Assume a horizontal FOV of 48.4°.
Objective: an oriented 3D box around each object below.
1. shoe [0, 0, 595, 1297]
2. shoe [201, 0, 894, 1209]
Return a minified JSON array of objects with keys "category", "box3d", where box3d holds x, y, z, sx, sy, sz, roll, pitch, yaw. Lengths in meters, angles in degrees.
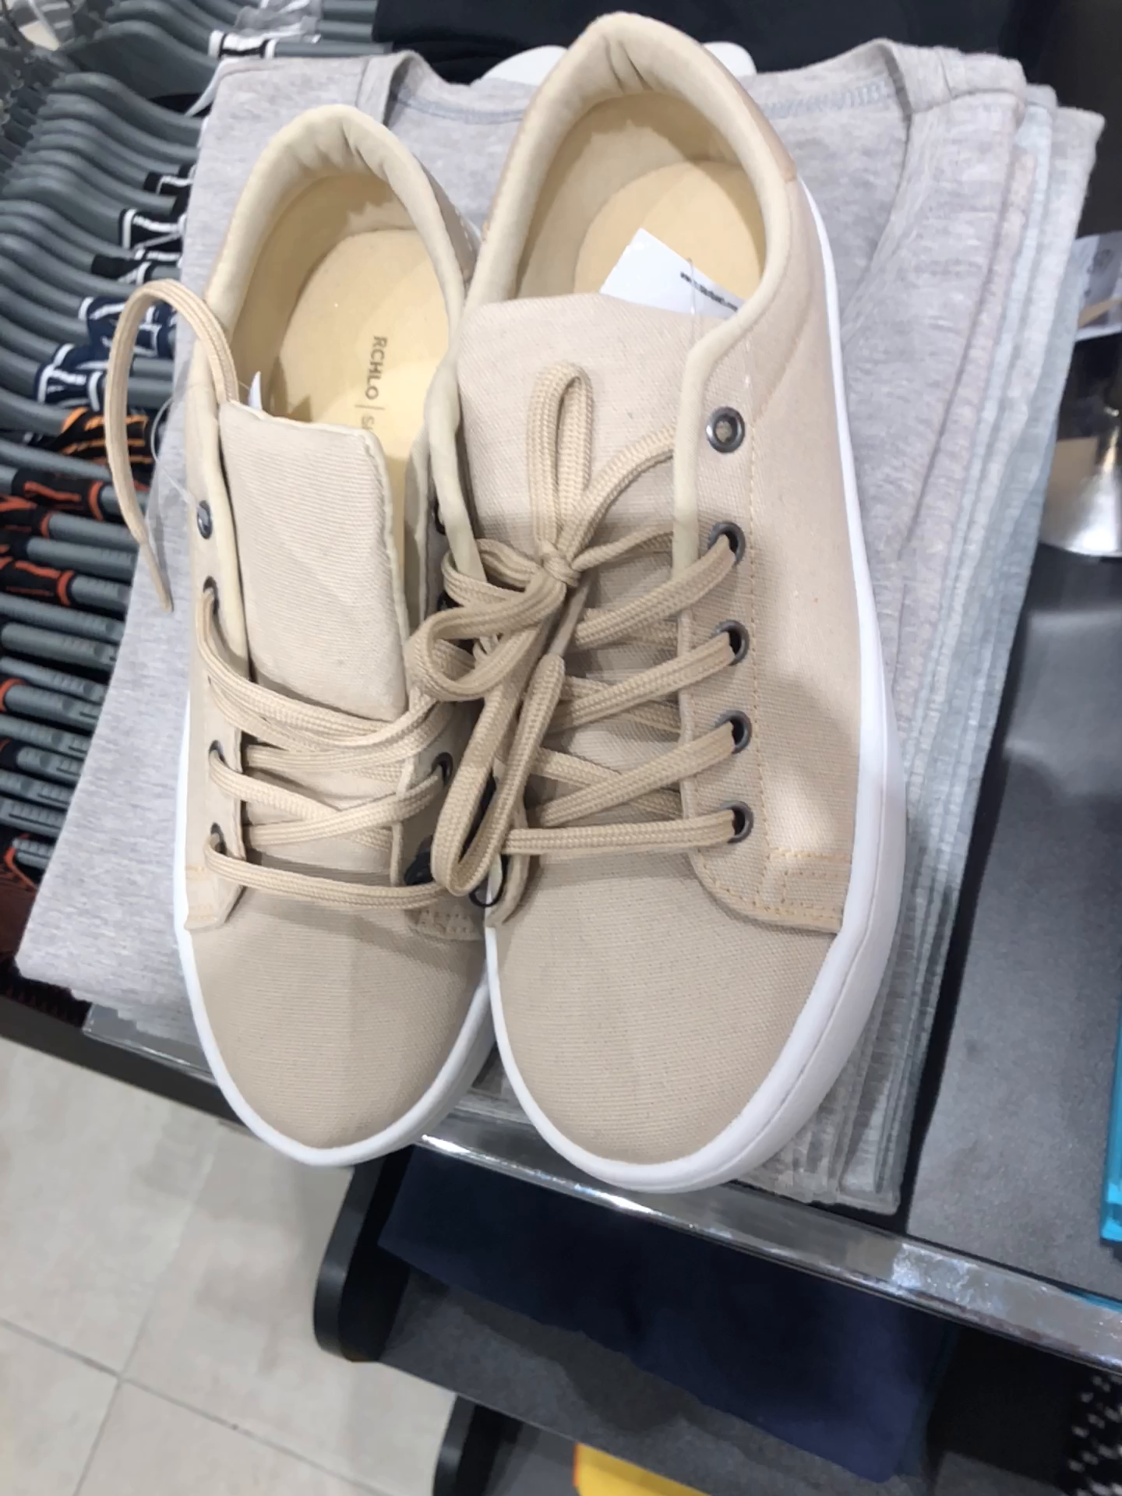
[{"category":"shoe","box3d":[-0.058,-0.035,0.304,0.100,0.110,0.280,4,81,7]},{"category":"shoe","box3d":[0.020,-0.052,0.297,0.110,0.110,0.291,0,68,16]}]
